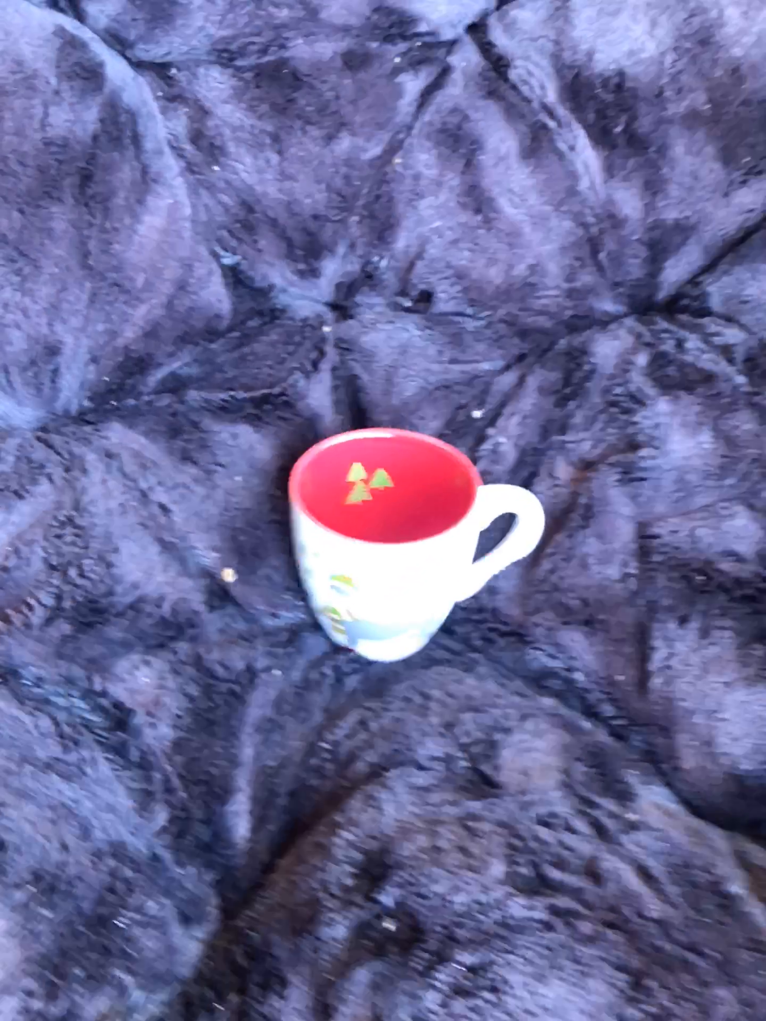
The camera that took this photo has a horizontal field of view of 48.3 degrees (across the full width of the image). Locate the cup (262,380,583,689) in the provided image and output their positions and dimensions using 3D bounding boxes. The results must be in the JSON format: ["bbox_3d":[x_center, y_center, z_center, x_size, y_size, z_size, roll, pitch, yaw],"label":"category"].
[{"bbox_3d":[0.015,0.011,0.478,0.140,0.110,0.100,-11,46,-14],"label":"cup"}]
